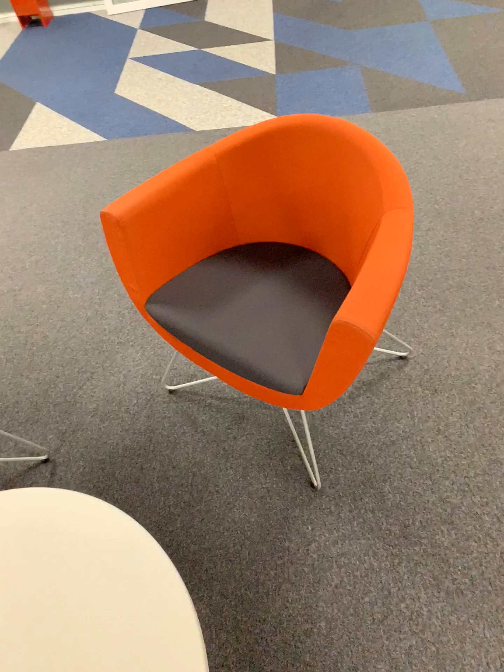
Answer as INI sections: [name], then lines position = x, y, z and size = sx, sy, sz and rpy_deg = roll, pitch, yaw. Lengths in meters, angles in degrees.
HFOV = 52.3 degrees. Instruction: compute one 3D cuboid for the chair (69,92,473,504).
[chair]
position = 0.080, -0.109, 1.391
size = 0.641, 0.707, 0.622
rpy_deg = 28, 60, 28
